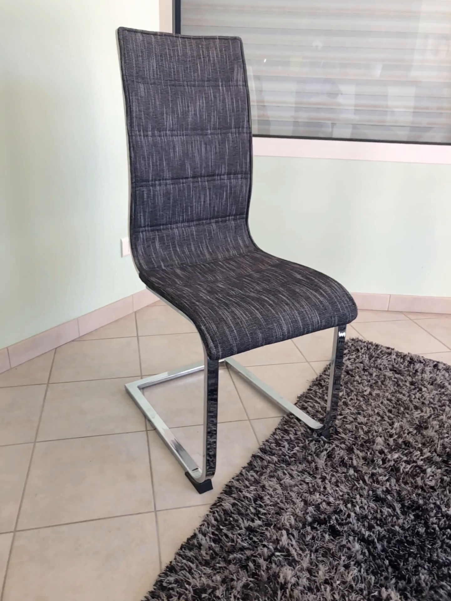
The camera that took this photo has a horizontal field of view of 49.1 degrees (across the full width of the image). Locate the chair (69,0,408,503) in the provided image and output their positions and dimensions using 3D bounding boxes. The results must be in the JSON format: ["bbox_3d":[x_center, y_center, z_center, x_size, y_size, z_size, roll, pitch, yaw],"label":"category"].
[{"bbox_3d":[-0.021,-0.149,1.251,0.502,0.965,0.581,-12,25,-31],"label":"chair"}]
